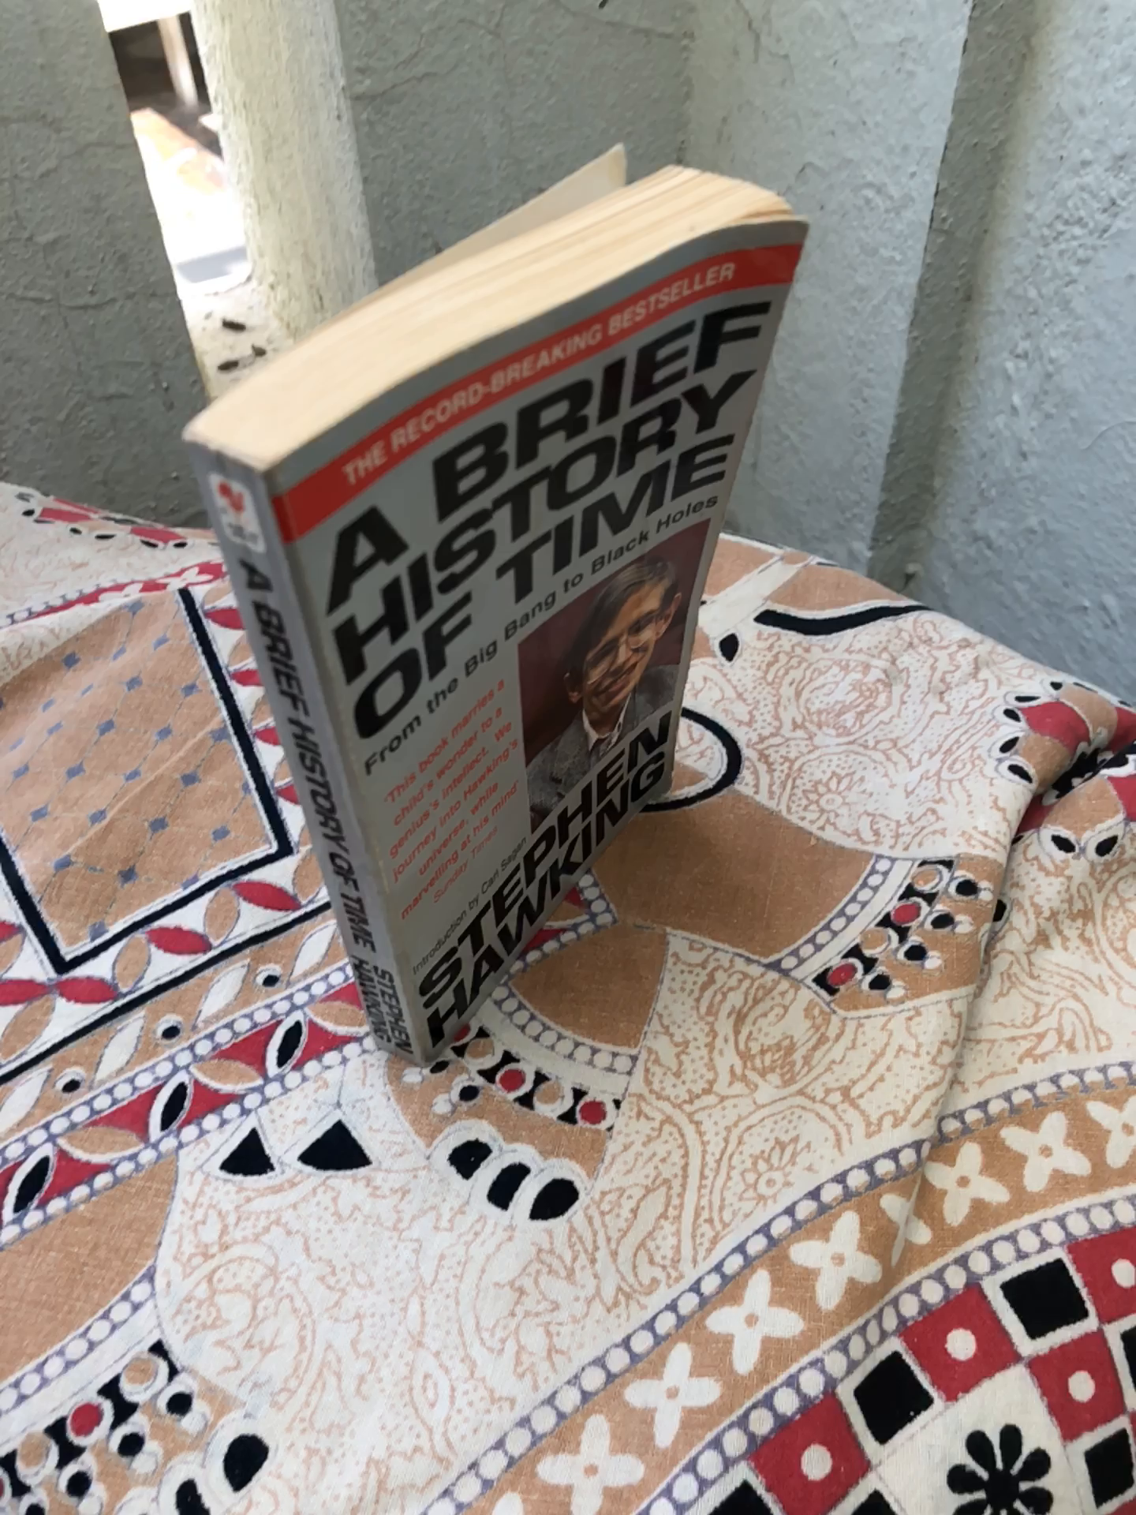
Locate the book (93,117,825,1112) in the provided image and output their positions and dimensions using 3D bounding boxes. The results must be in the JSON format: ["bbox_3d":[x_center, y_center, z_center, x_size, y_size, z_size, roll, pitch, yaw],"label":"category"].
[{"bbox_3d":[-0.009,-0.019,0.261,0.030,0.169,0.130,34,58,26],"label":"book"}]
